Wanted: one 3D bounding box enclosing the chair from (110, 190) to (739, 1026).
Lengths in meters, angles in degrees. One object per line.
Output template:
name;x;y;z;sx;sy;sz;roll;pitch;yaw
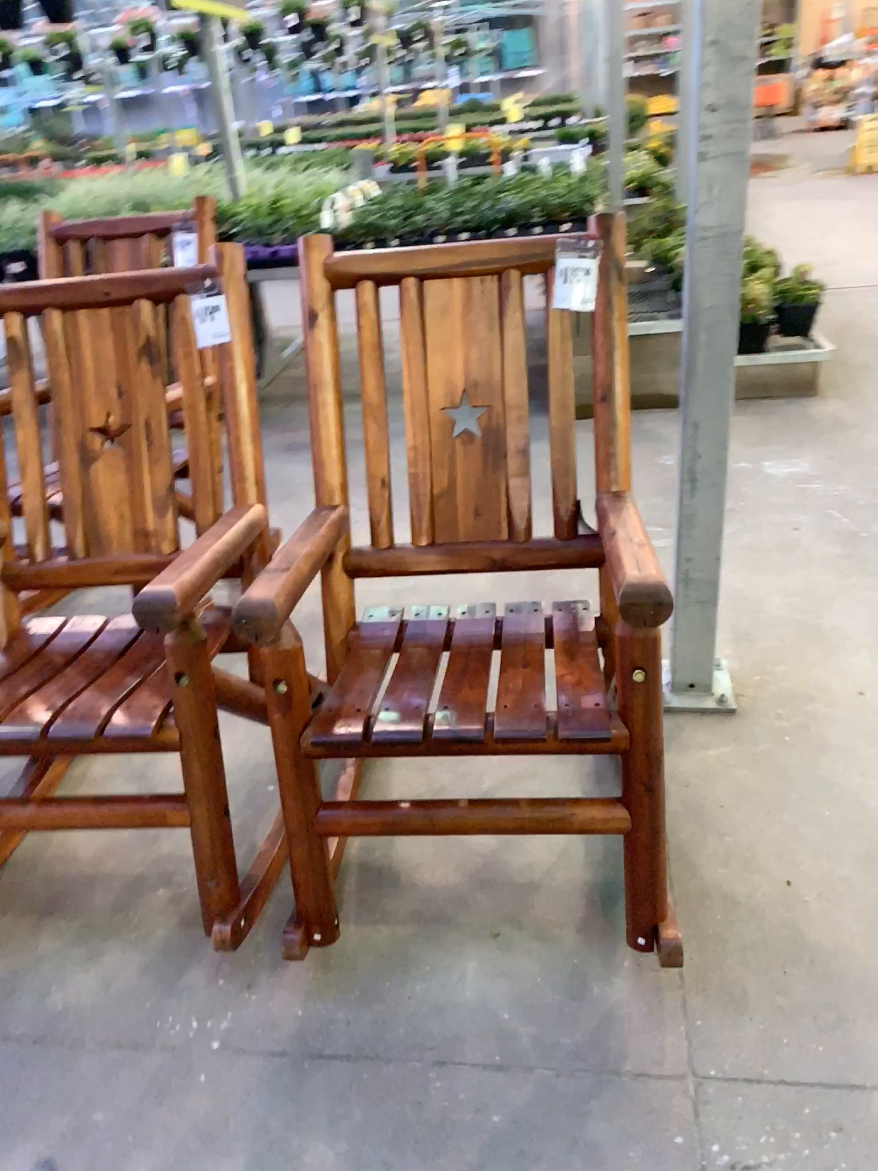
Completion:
chair;0.066;-0.024;1.663;0.672;1.157;1.023;-2;29;7

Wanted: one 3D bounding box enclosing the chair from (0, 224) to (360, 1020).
chair;-0.651;0.008;1.754;0.672;1.157;1.023;-2;29;7

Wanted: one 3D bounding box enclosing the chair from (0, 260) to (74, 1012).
chair;-1.475;0.044;1.859;0.672;1.157;1.023;-2;29;7
